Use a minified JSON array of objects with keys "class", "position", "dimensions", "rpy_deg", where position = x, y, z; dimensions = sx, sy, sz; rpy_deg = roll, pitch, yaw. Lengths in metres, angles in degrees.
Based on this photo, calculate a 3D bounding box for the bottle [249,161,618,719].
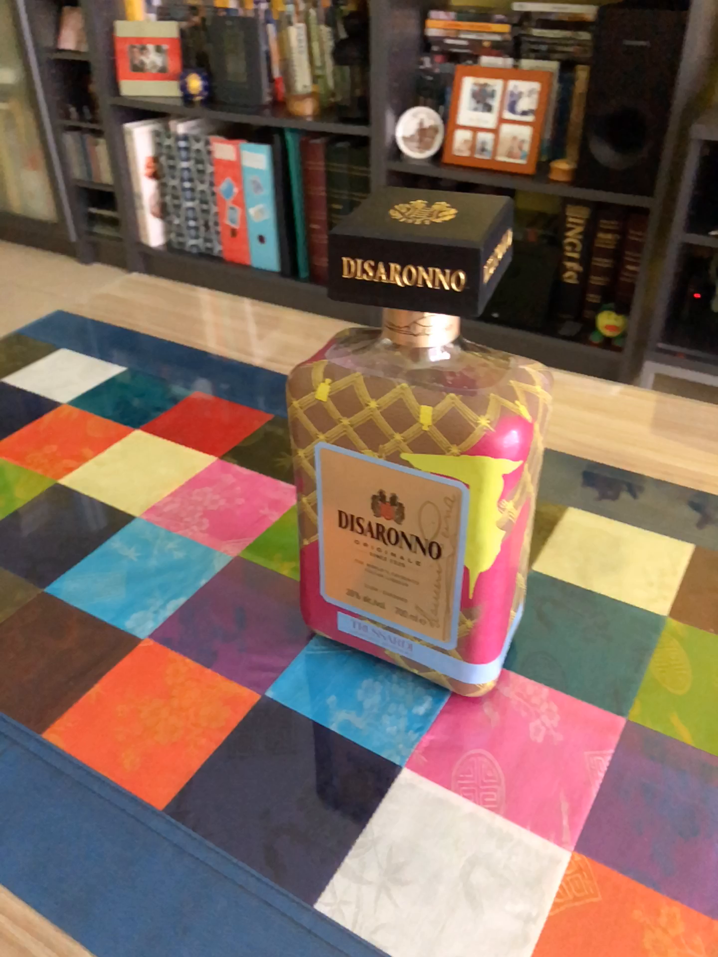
[{"class":"bottle","position":[0.032,-0.014,0.375],"dimensions":[0.120,0.229,0.080],"rpy_deg":[17,39,24]}]
